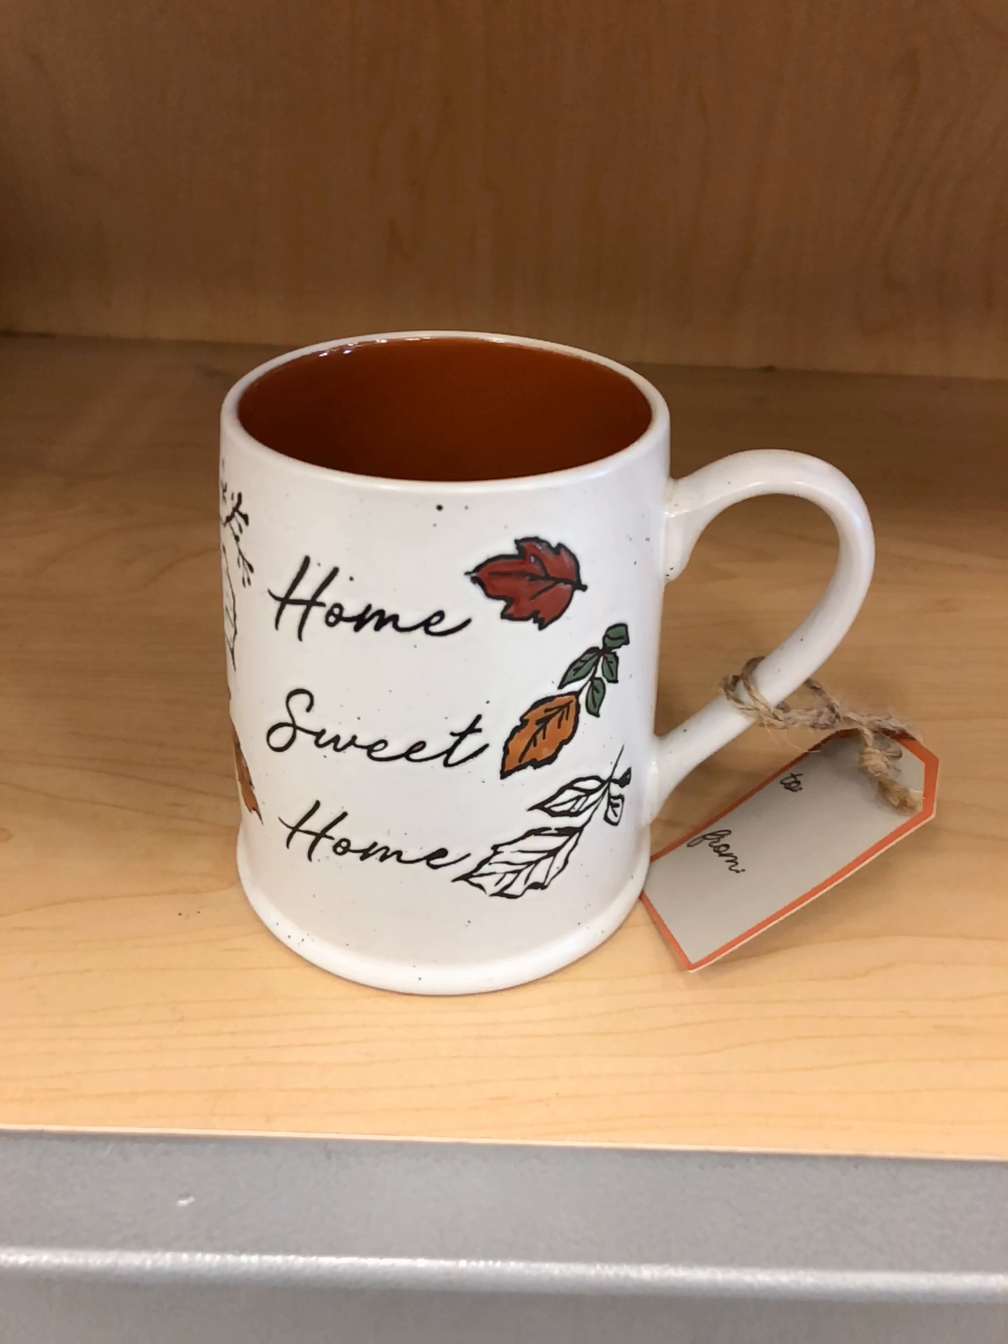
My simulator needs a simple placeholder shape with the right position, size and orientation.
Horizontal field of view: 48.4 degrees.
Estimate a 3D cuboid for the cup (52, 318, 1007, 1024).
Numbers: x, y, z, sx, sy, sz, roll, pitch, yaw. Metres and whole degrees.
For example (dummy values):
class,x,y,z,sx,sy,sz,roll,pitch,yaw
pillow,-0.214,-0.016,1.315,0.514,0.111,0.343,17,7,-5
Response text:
class,x,y,z,sx,sy,sz,roll,pitch,yaw
cup,0.002,-0.002,0.206,0.125,0.099,0.081,1,33,-2
